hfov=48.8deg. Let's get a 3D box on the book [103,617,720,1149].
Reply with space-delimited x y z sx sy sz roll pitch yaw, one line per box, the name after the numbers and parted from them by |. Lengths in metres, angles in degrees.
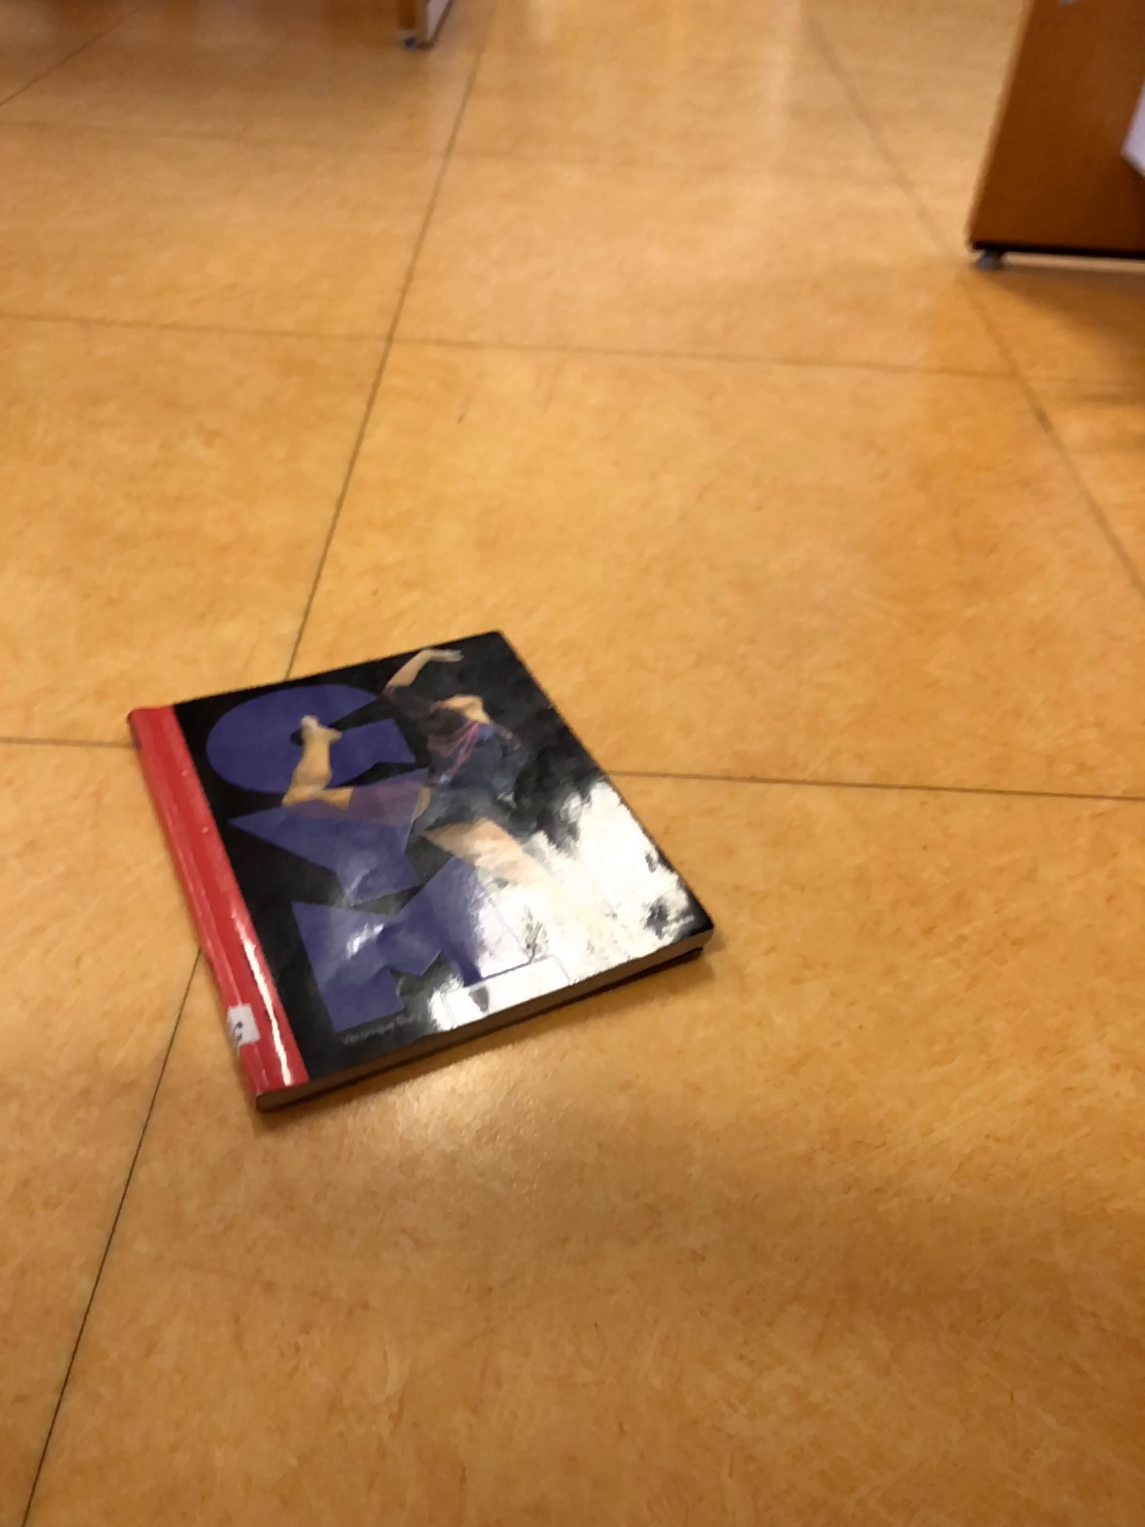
-0.080 0.030 0.550 0.194 0.030 0.234 -15 44 -21 | book
